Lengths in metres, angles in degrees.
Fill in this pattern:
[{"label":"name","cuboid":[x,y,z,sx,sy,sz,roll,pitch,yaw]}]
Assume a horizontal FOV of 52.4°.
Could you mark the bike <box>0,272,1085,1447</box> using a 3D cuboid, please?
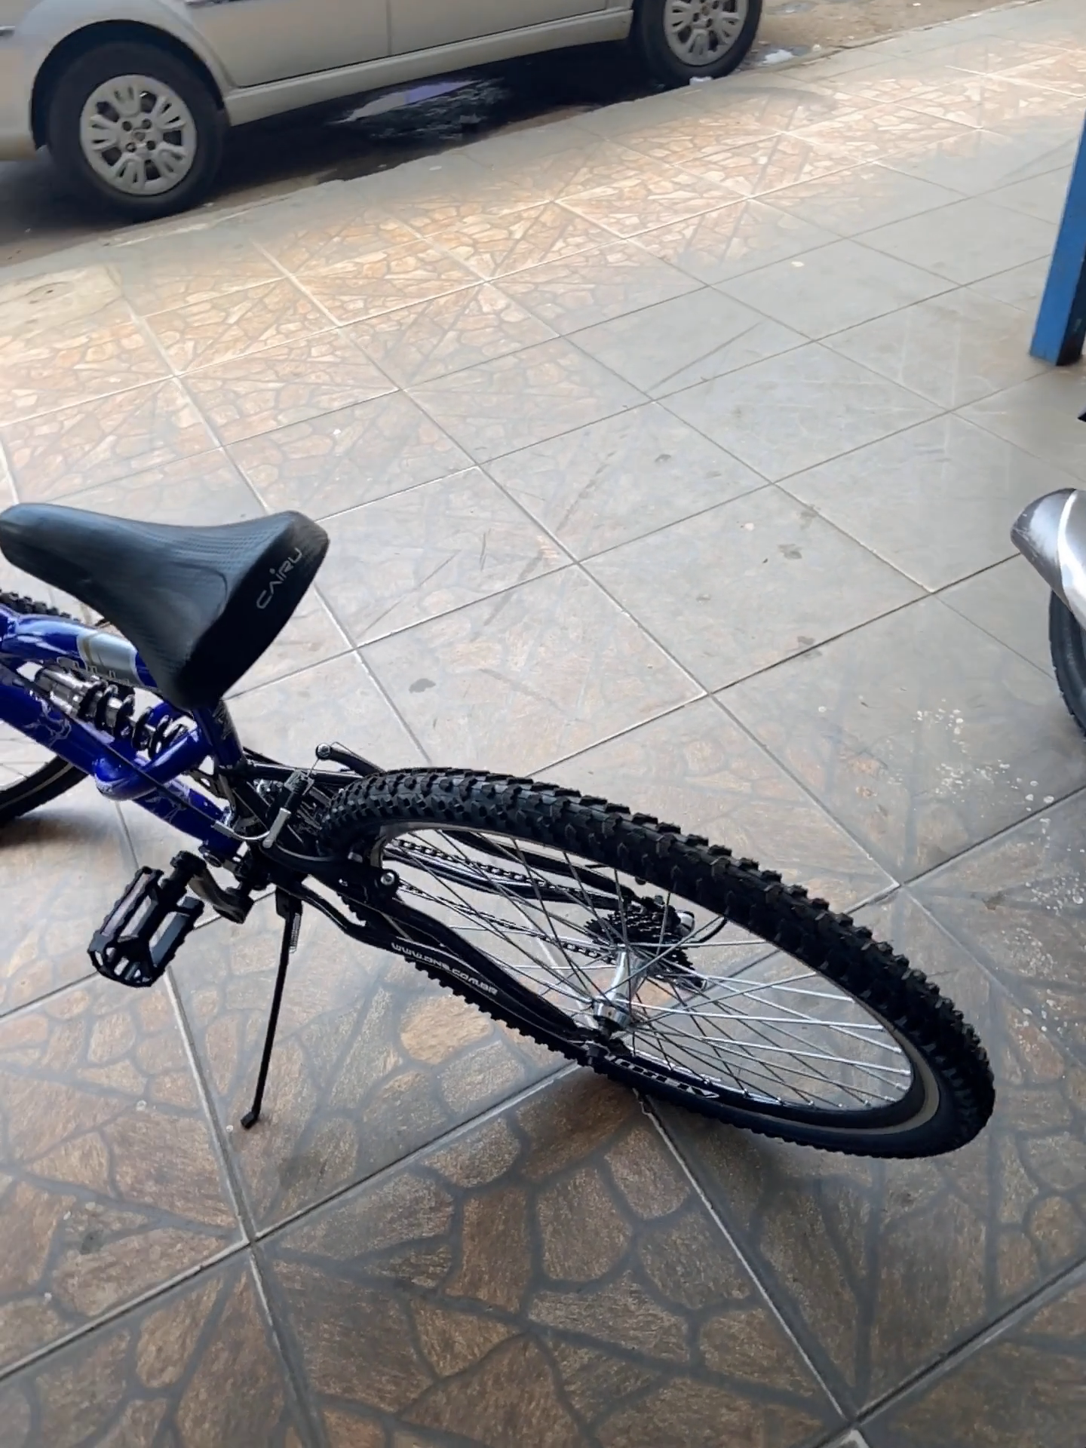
[{"label":"bike","cuboid":[-0.472,0.225,0.967,1.610,1.019,0.517,8,47,18]}]
